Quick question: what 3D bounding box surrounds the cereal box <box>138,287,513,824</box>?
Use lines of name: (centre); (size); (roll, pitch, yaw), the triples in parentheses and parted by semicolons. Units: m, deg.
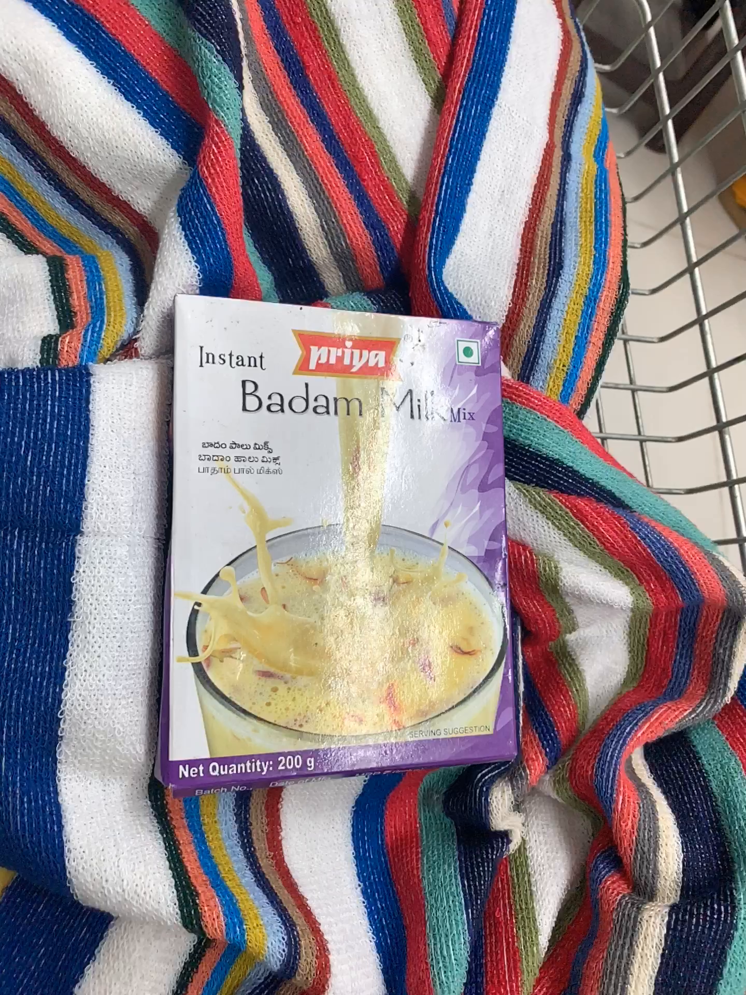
cereal box: (-0.015, 0.017, 0.265); (0.120, 0.030, 0.160); (2, 83, -20)
